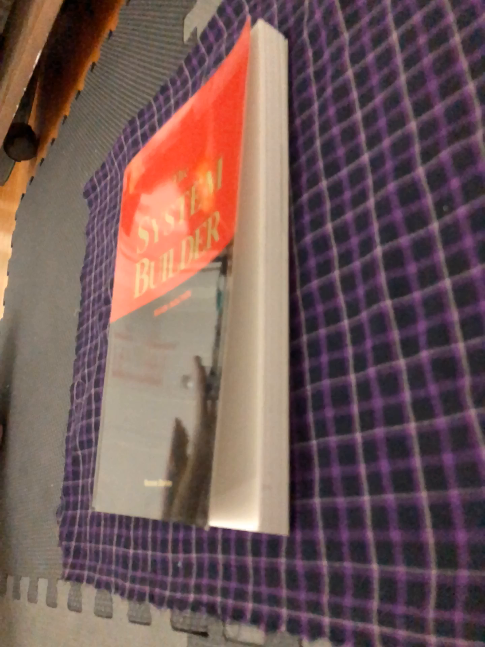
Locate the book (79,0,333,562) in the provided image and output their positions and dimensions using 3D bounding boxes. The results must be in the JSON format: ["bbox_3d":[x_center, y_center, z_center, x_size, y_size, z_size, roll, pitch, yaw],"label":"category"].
[{"bbox_3d":[-0.032,-0.014,0.314,0.201,0.030,0.260,-22,61,52],"label":"book"}]
